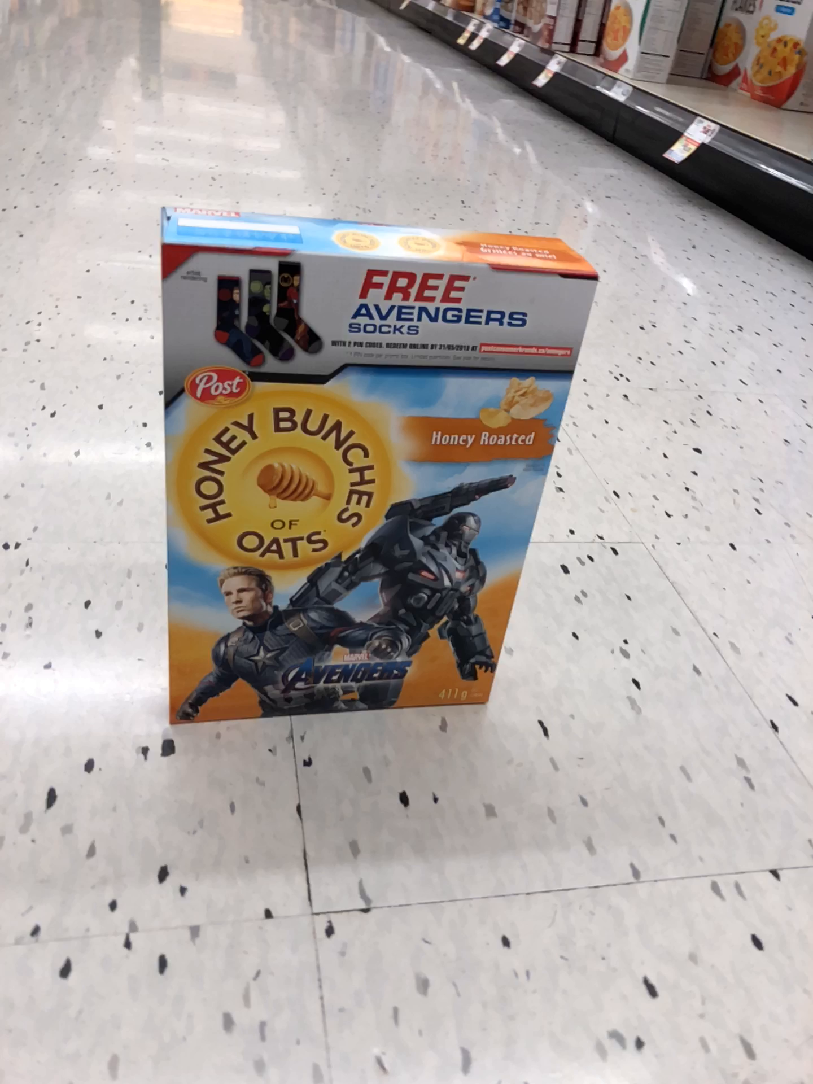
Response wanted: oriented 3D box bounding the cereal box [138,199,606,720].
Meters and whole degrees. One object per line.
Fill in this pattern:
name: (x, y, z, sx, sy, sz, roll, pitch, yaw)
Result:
cereal box: (-0.032, -0.029, 0.465, 0.200, 0.258, 0.060, -1, 35, -16)
